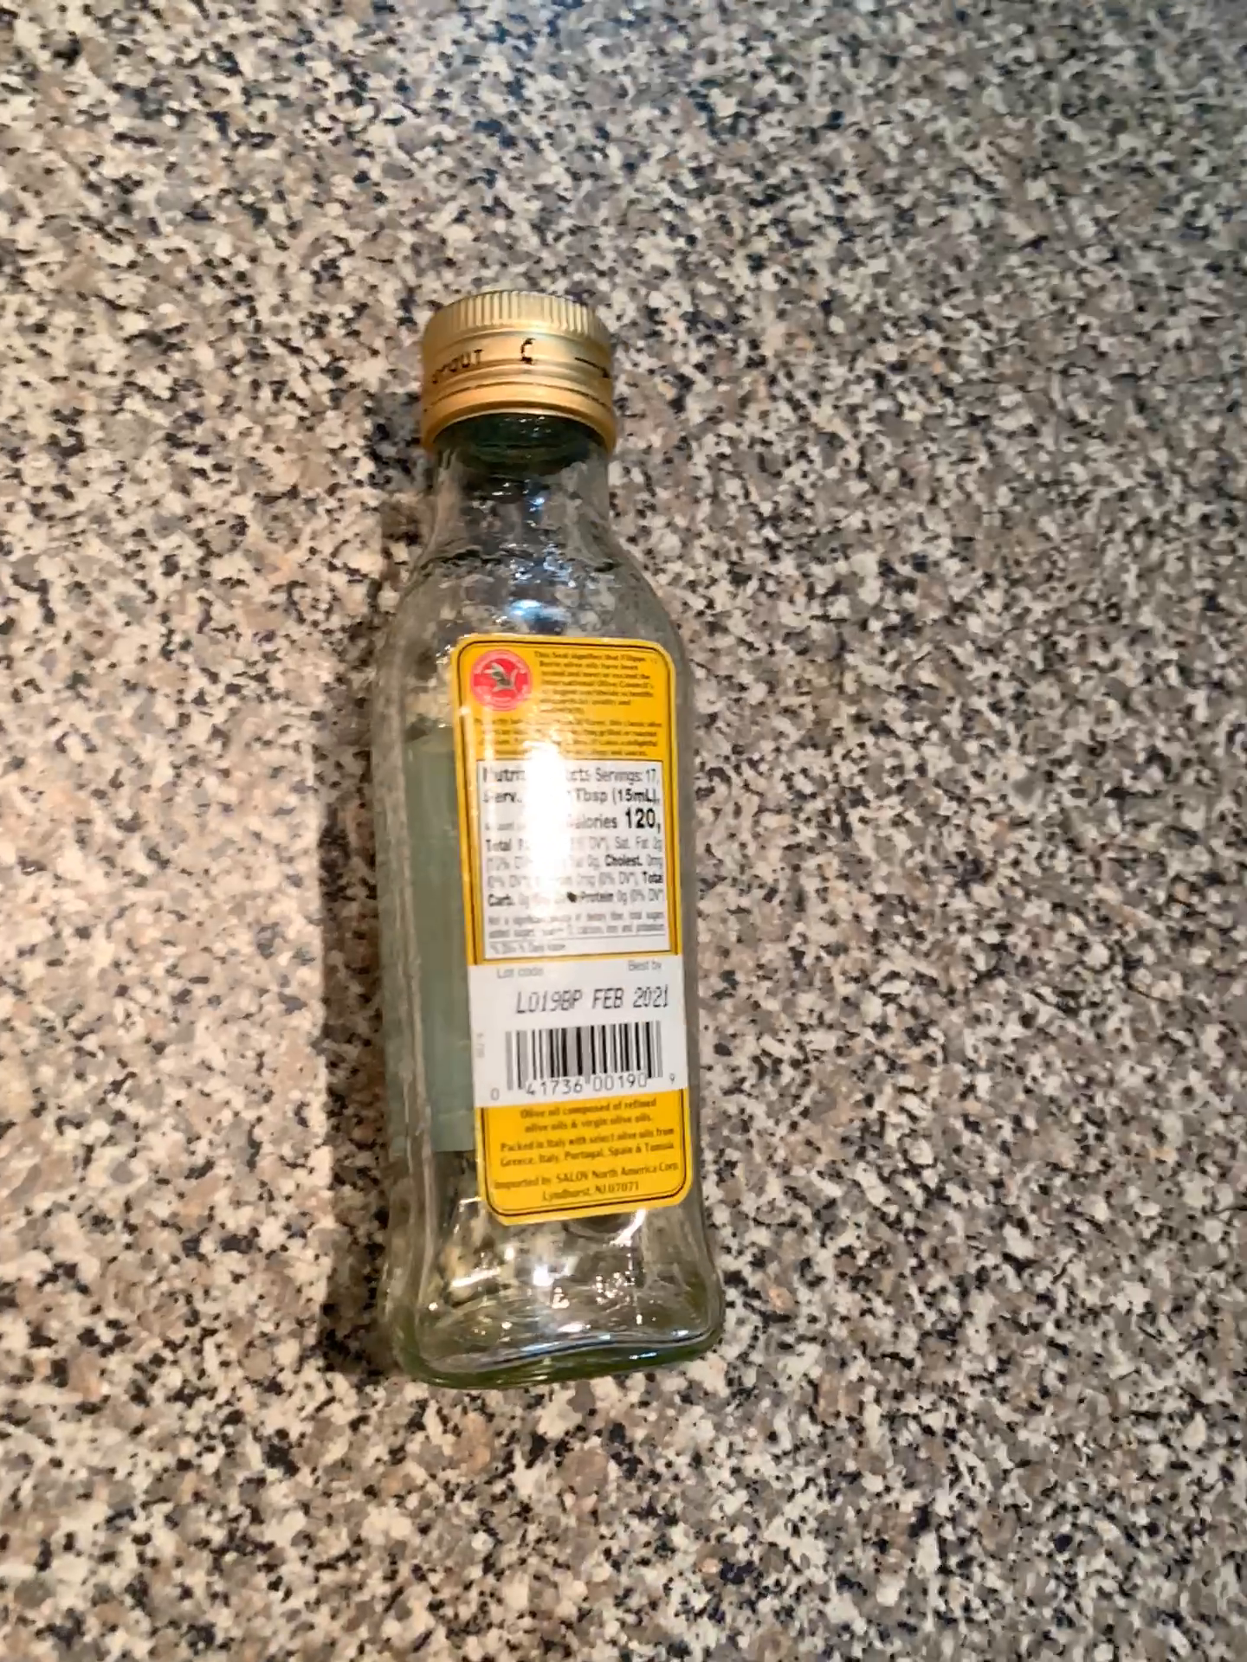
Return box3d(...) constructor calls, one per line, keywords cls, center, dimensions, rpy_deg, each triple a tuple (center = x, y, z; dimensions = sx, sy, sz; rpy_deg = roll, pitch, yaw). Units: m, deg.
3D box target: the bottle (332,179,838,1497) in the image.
box3d(cls="bottle", center=(-0.012, -0.001, 0.212), dimensions=(0.060, 0.060, 0.180), rpy_deg=(0, 82, -20))
